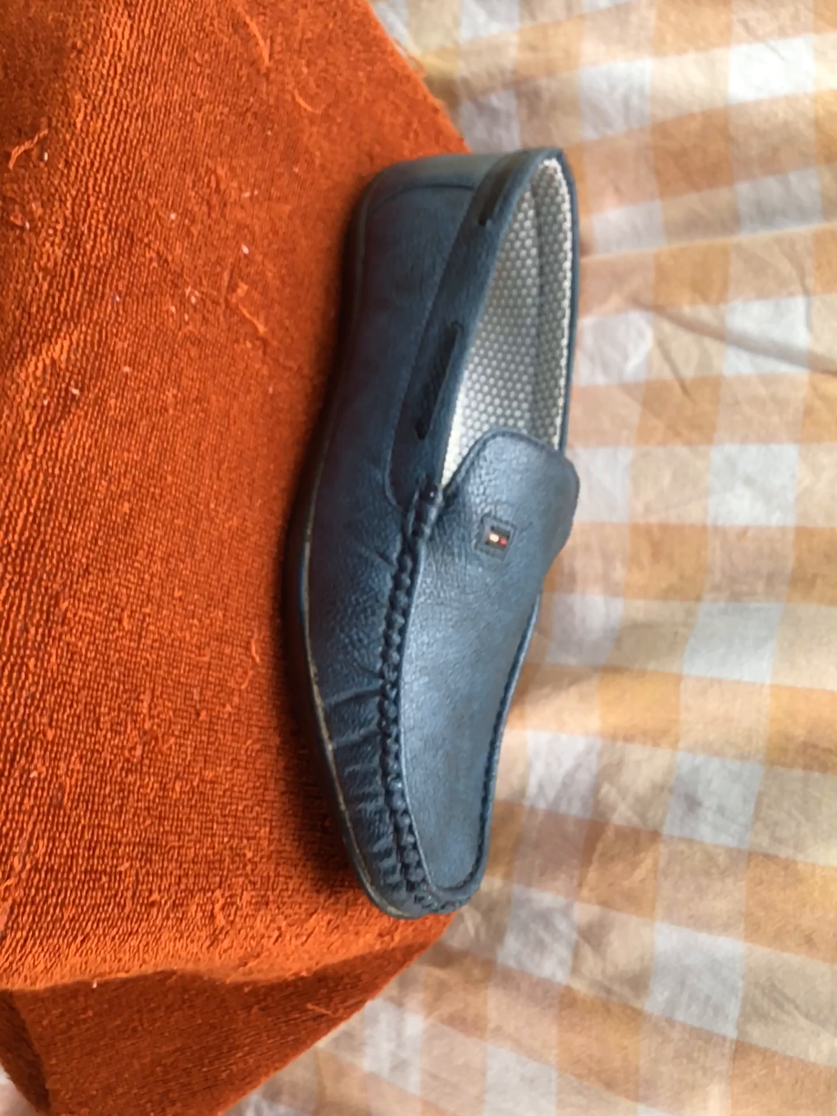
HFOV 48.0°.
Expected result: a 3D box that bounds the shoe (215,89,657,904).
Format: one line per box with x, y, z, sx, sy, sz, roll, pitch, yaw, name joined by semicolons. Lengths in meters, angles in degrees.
0.019;-0.018;0.344;0.101;0.089;0.260;33;61;-55;shoe
